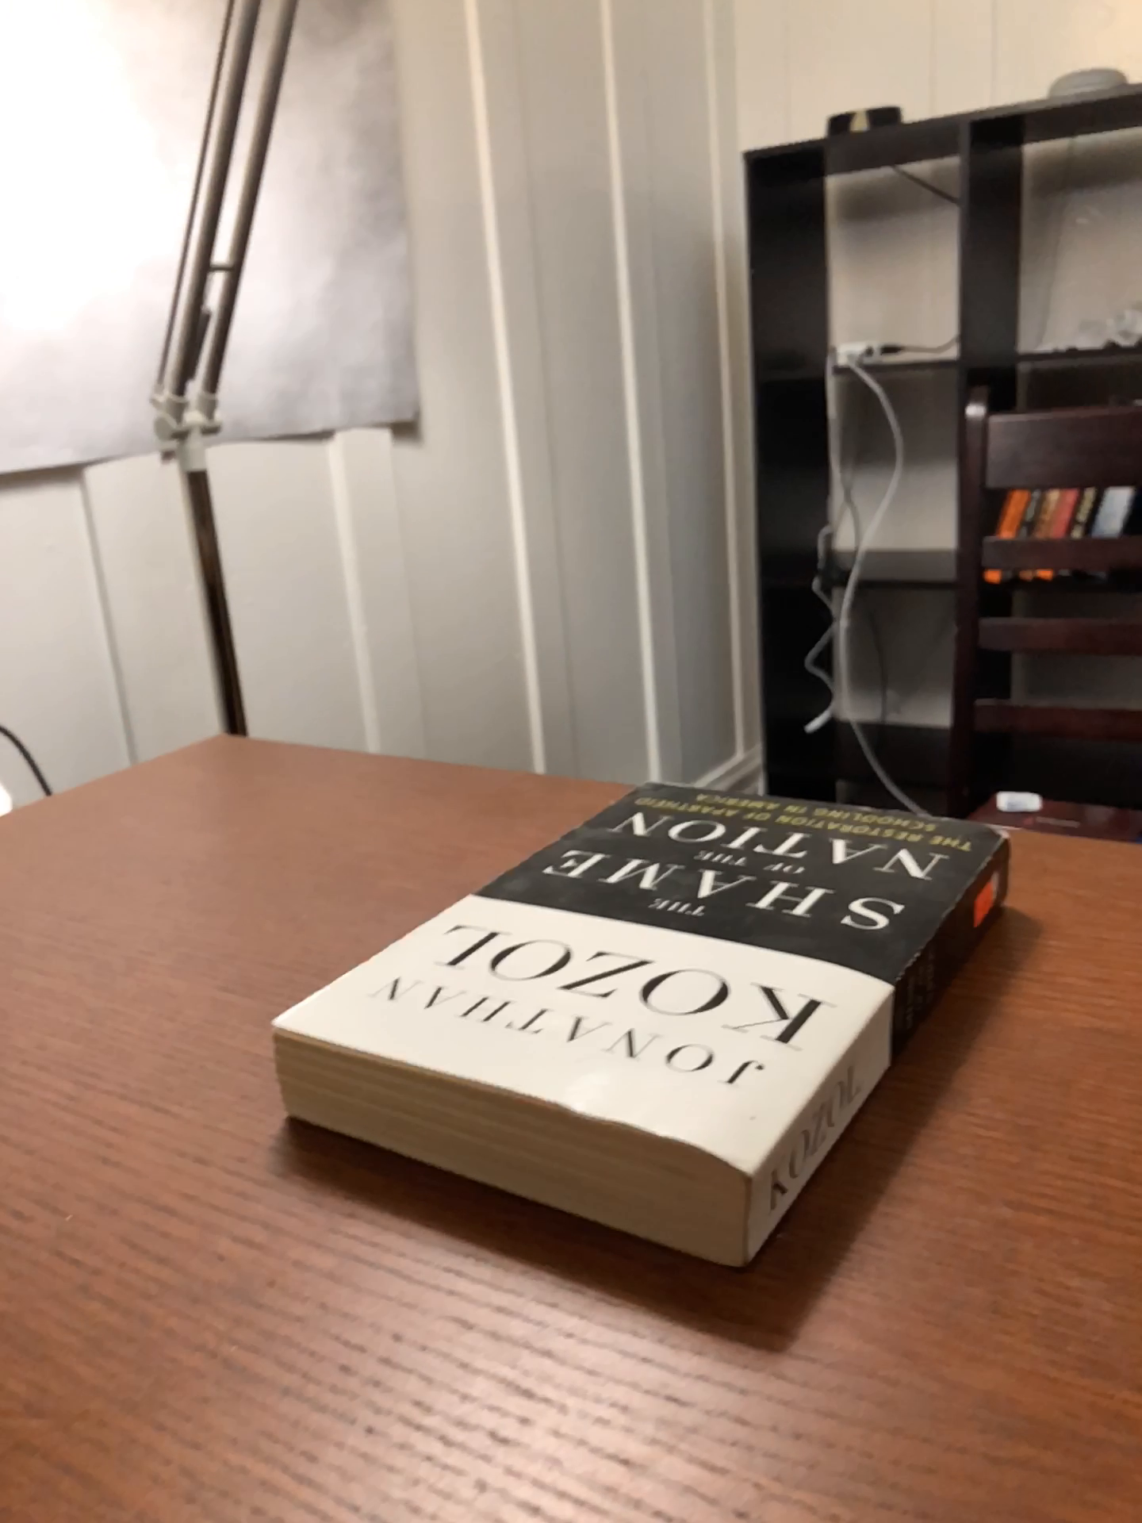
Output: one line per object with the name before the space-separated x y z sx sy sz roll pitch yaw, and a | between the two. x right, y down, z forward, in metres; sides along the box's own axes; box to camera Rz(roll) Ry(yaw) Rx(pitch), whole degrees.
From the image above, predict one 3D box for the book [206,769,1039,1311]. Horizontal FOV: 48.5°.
book | 0.033 0.058 0.390 0.160 0.030 0.231 6 20 32
